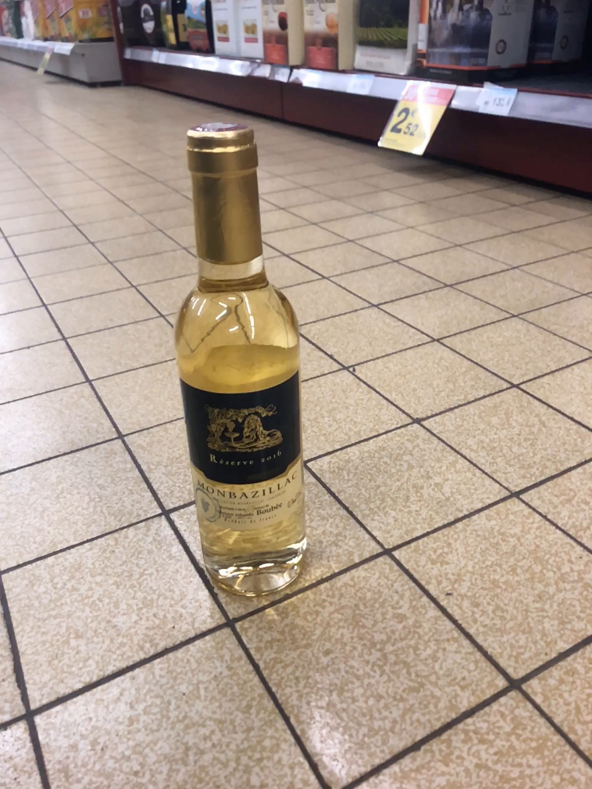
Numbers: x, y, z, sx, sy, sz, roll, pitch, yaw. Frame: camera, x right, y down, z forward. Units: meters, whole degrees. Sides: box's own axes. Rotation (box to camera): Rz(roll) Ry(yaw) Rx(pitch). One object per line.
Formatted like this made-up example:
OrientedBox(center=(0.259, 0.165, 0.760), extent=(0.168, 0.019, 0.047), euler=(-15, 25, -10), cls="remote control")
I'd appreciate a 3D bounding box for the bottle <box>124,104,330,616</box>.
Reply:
OrientedBox(center=(-0.023, -0.006, 0.318), extent=(0.070, 0.239, 0.070), euler=(-2, 30, 1), cls="bottle")
